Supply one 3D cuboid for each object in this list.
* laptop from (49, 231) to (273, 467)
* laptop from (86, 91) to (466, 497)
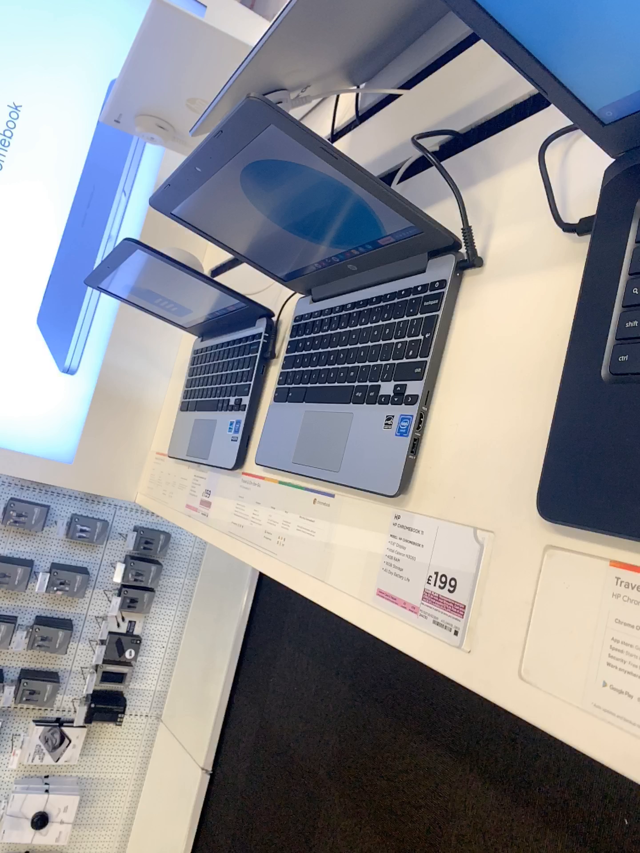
[{"bbox_3d":[-0.225,-0.086,0.880,0.288,0.180,0.221,1,77,62],"label":"laptop"},{"bbox_3d":[-0.059,-0.087,0.579,0.279,0.185,0.228,4,78,62],"label":"laptop"}]
